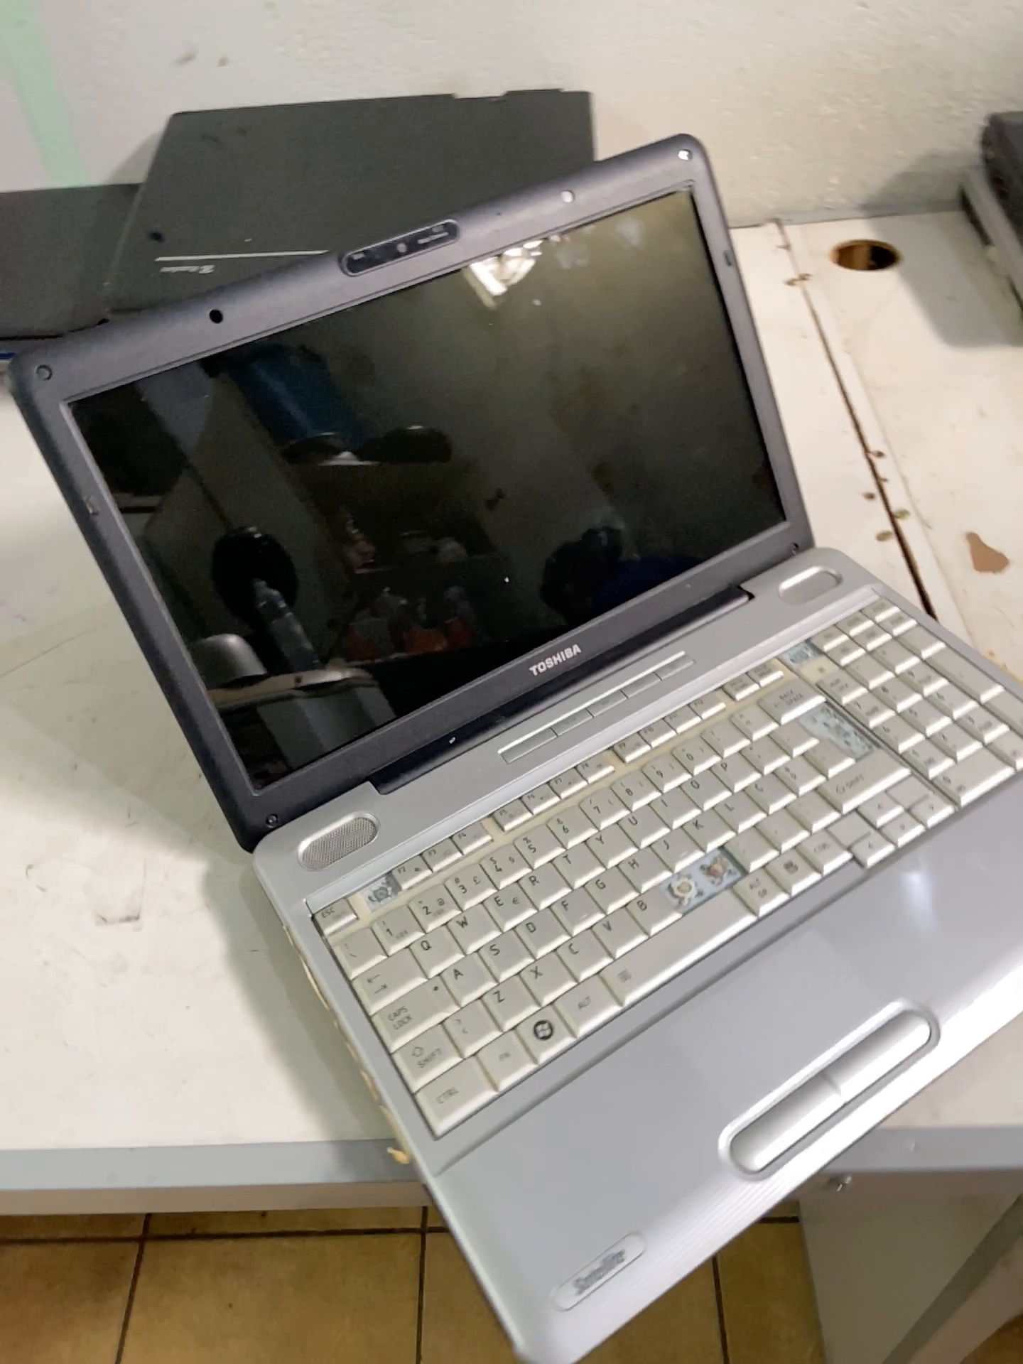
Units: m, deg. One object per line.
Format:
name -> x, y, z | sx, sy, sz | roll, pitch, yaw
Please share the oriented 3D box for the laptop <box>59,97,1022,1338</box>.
laptop -> 0.075, -0.048, 0.460 | 0.371, 0.191, 0.400 | -28, 52, -19
